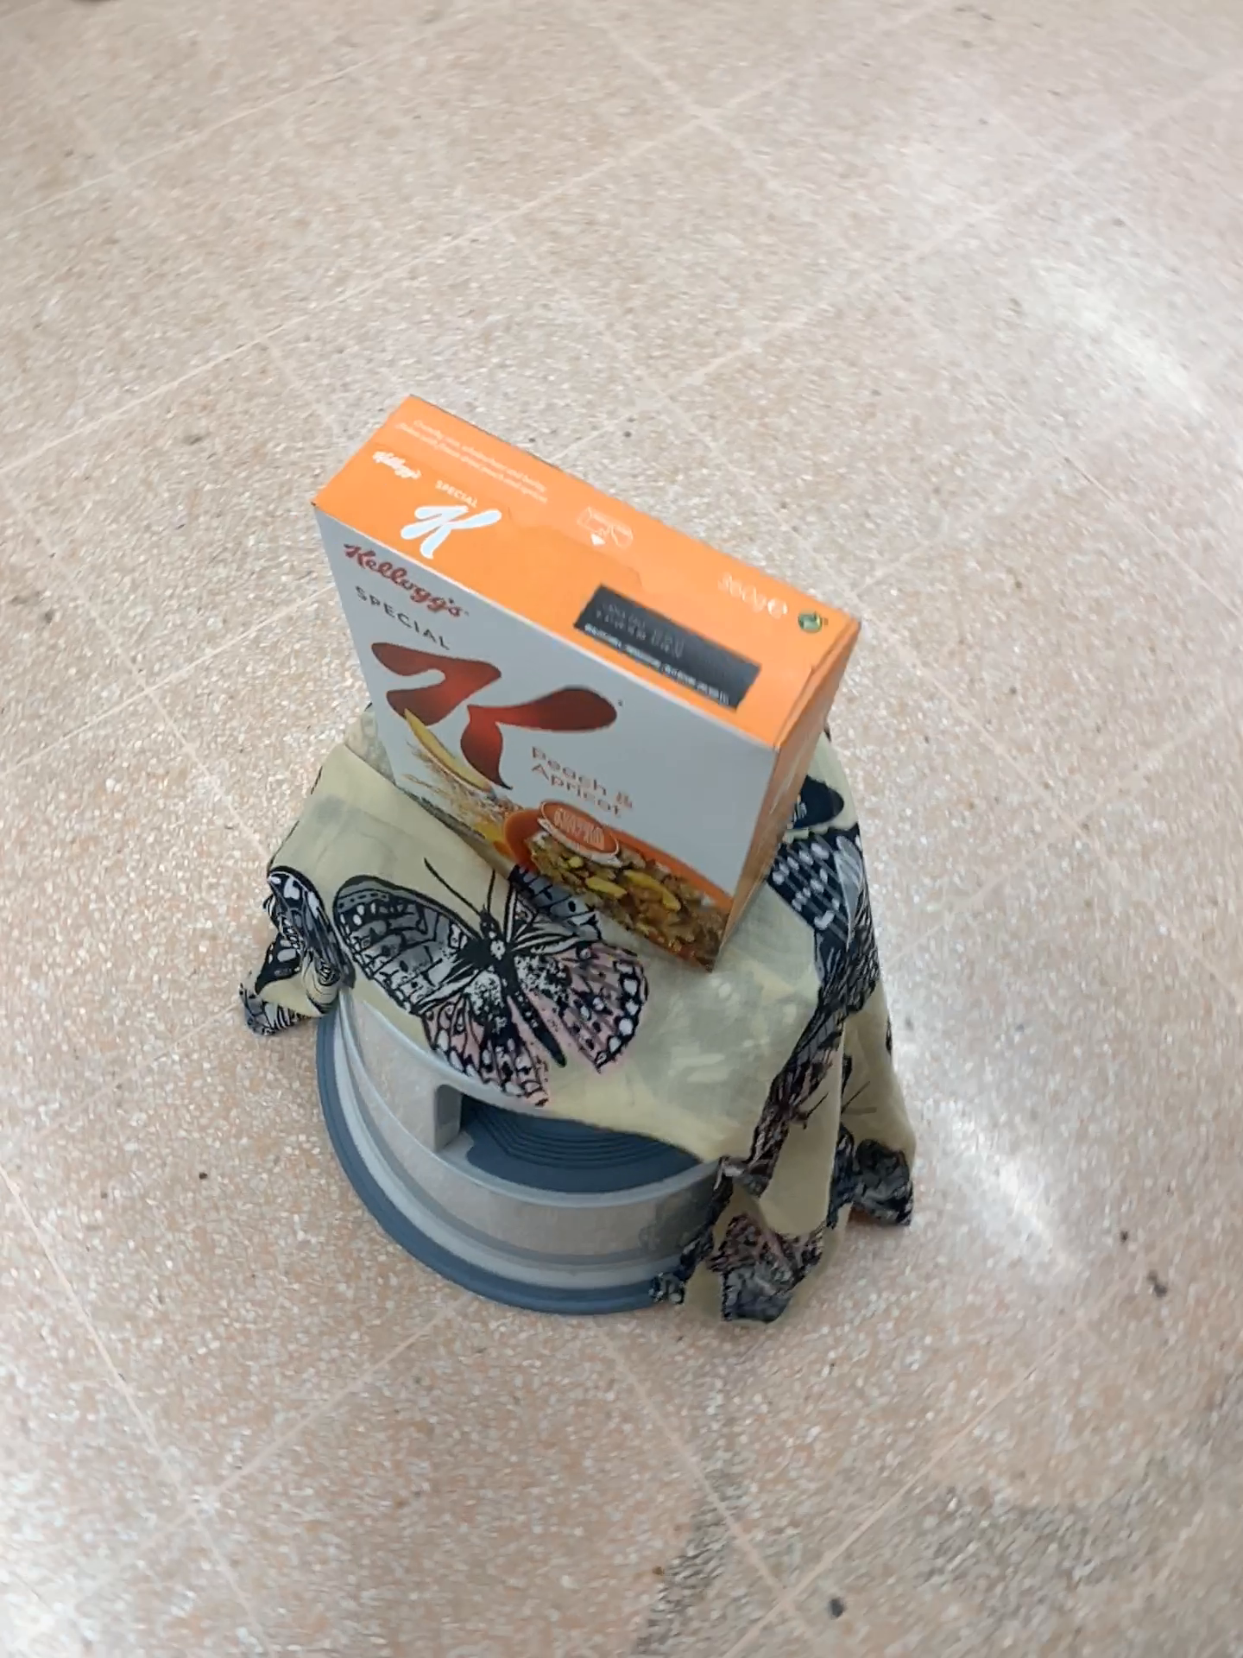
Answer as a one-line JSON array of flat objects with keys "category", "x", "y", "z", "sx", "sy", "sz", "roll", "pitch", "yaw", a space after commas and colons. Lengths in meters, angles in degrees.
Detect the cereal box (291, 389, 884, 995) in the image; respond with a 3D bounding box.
[{"category": "cereal box", "x": -0.018, "y": -0.039, "z": 0.573, "sx": 0.210, "sy": 0.269, "sz": 0.060, "roll": 30, "pitch": 69, "yaw": 10}]
